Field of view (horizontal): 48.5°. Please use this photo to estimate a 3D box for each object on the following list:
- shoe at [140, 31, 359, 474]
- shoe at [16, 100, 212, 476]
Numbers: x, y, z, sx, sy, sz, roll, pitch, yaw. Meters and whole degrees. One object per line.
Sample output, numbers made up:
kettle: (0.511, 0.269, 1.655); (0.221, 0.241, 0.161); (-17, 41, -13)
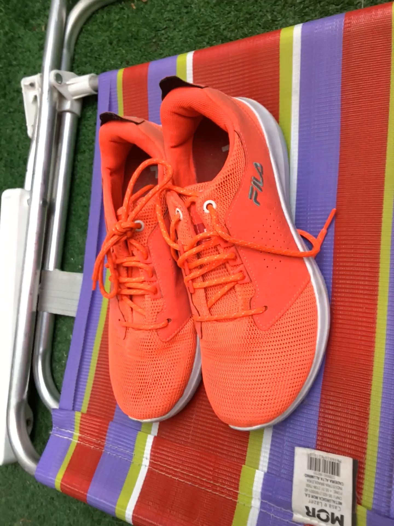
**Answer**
shoe: (0.033, -0.005, 0.306); (0.100, 0.090, 0.250); (-11, 78, 33)
shoe: (-0.057, 0.018, 0.335); (0.100, 0.100, 0.230); (-5, 81, 27)
